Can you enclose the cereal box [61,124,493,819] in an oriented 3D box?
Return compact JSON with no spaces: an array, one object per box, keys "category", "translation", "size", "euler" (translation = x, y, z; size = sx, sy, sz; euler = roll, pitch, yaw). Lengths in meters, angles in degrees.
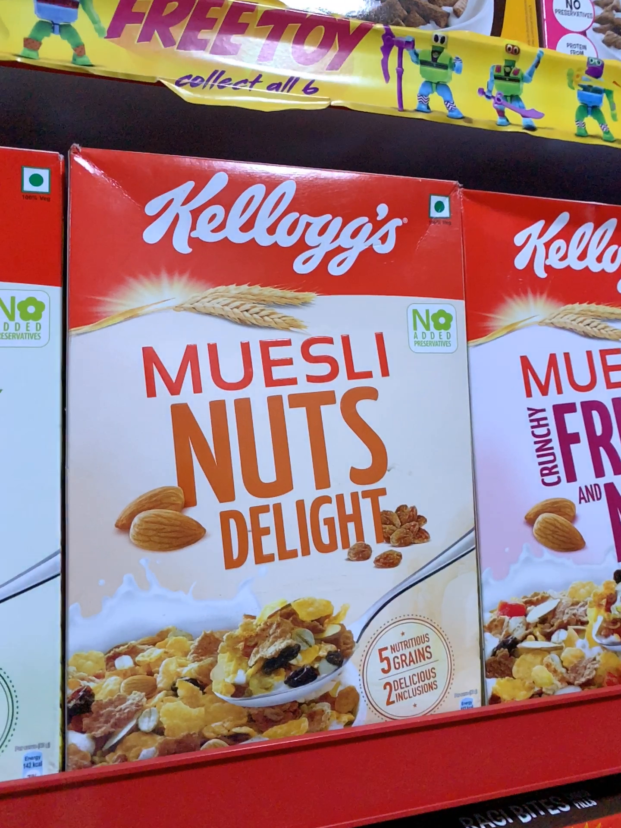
[{"category":"cereal box","translation":[-0.017,0.016,0.288],"size":[0.170,0.251,0.060],"euler":[0,-6,-17]}]
